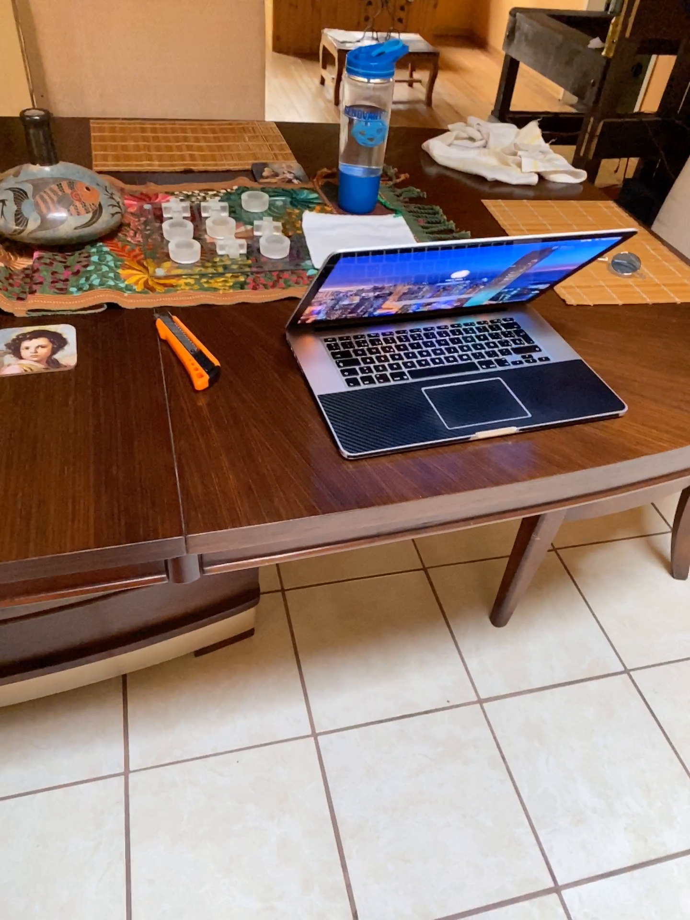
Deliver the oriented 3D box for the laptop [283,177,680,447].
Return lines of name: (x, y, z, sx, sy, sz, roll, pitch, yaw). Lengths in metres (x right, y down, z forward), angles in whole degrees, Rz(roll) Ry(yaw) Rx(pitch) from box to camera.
laptop: (0.133, -0.185, 0.811, 0.355, 0.181, 0.236, -9, 44, -17)
